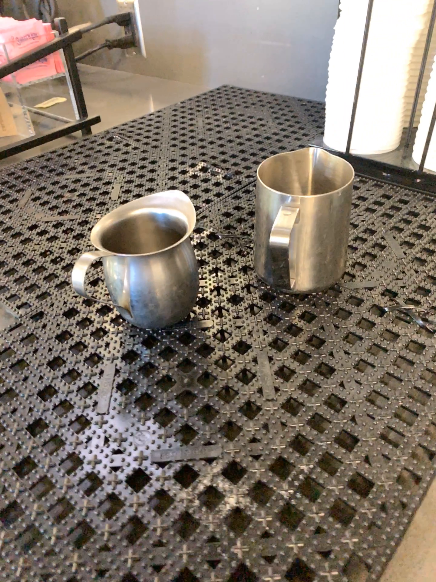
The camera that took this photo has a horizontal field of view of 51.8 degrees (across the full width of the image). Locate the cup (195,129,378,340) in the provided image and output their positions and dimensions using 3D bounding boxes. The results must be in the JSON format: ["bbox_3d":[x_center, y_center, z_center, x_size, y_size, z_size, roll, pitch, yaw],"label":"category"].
[{"bbox_3d":[0.051,-0.046,0.305,0.080,0.080,0.120,14,42,21],"label":"cup"}]

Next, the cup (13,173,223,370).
[{"bbox_3d":[-0.060,-0.022,0.320,0.080,0.070,0.120,15,42,23],"label":"cup"}]
